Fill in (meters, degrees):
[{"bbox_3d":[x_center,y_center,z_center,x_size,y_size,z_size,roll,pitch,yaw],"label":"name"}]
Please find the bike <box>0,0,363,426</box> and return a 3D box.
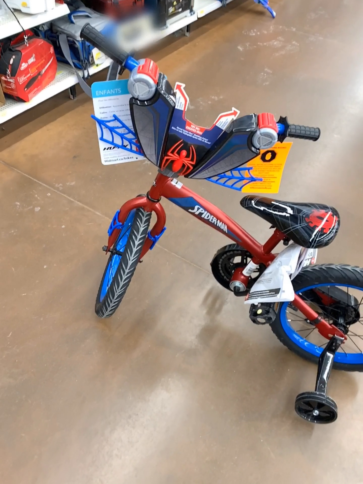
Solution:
[{"bbox_3d":[0.123,-0.014,0.762,0.565,0.708,0.477,10,48,6],"label":"bike"}]
